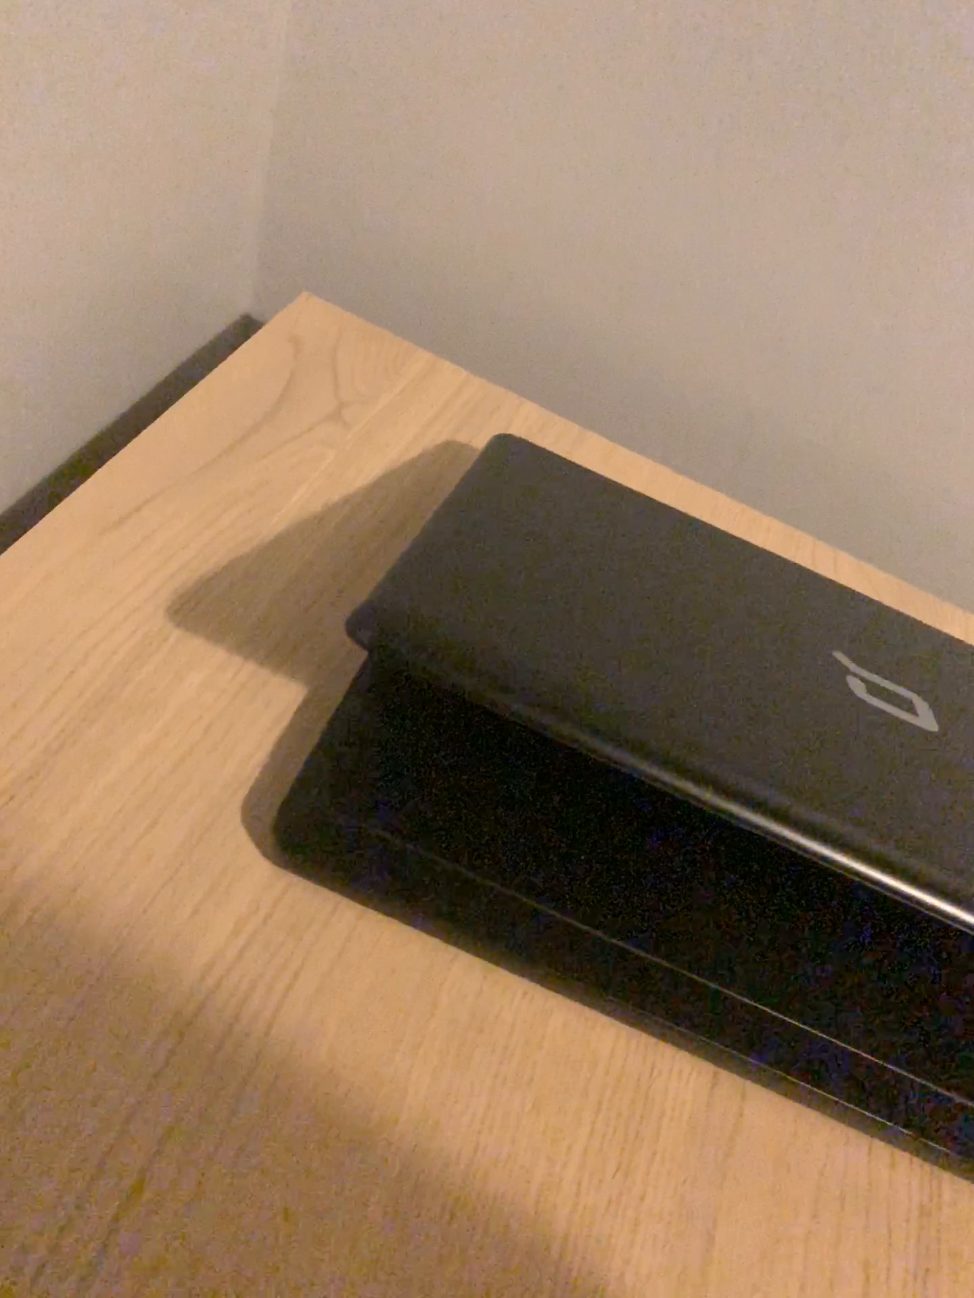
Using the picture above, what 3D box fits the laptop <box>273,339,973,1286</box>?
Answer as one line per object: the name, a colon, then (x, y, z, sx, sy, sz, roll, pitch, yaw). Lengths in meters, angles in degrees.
laptop: (0.144, 0.040, 0.386, 0.373, 0.064, 0.225, 24, 49, 0)
